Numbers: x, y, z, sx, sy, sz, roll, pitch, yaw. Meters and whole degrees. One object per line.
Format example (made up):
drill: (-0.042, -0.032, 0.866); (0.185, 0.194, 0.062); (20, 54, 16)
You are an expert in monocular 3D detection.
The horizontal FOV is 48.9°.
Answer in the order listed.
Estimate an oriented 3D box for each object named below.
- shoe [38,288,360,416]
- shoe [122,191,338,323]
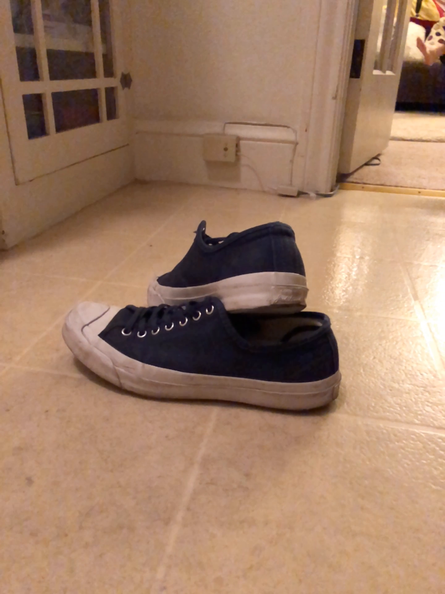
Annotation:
shoe: (-0.017, 0.050, 0.492); (0.290, 0.080, 0.111); (-1, 19, 11)
shoe: (-0.013, -0.027, 0.552); (0.100, 0.100, 0.290); (9, -6, -30)
